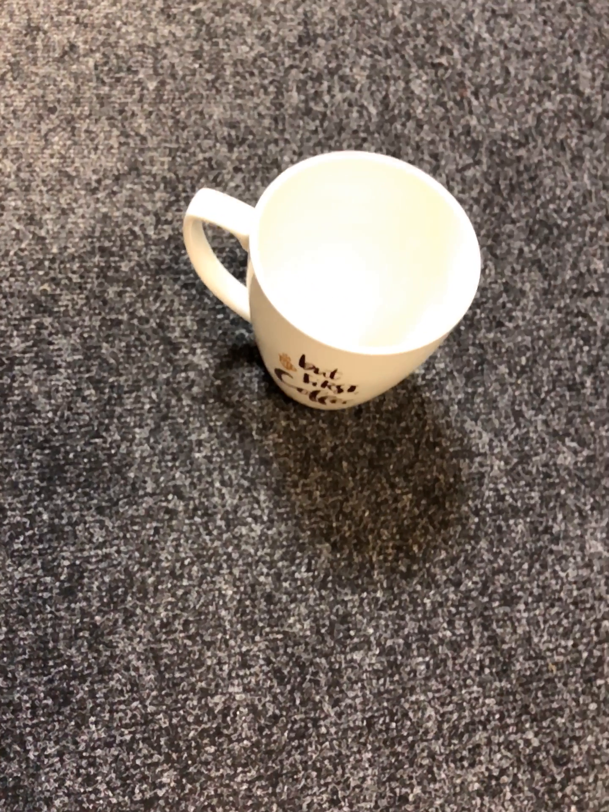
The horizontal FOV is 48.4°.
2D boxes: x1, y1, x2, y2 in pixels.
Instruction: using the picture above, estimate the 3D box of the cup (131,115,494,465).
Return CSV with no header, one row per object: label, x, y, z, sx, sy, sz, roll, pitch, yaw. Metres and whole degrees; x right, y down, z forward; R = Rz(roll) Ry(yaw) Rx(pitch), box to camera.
cup,0.003,-0.052,0.349,0.145,0.100,0.110,14,67,-3
